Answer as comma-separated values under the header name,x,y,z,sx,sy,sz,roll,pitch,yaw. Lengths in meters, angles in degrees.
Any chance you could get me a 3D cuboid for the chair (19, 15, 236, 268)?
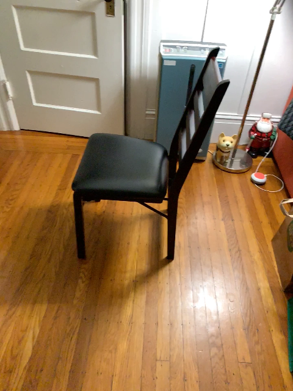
name,x,y,z,sx,sy,sz,roll,pitch,yaw
chair,-0.062,-0.175,1.228,0.550,0.865,0.493,3,42,-1
